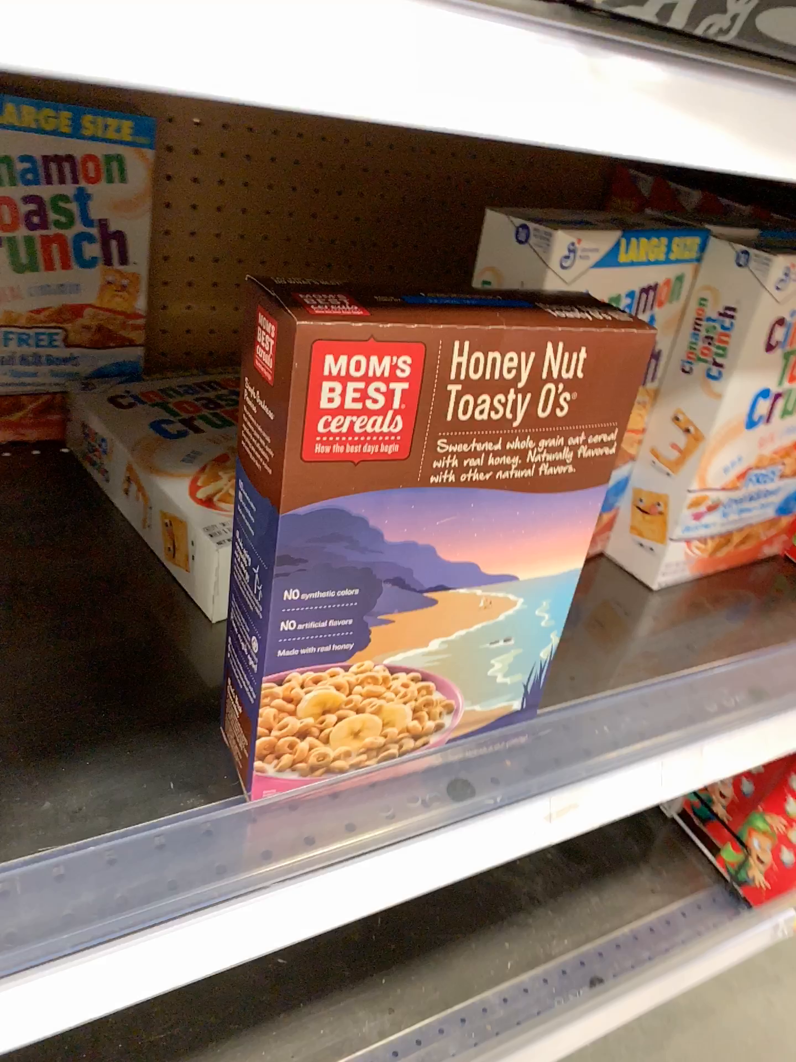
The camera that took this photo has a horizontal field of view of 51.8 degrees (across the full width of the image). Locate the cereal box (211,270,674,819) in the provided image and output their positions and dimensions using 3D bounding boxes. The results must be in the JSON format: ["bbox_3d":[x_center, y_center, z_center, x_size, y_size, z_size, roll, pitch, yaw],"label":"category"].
[{"bbox_3d":[0.011,0.011,0.455,0.200,0.279,0.070,-6,33,-27],"label":"cereal box"}]
